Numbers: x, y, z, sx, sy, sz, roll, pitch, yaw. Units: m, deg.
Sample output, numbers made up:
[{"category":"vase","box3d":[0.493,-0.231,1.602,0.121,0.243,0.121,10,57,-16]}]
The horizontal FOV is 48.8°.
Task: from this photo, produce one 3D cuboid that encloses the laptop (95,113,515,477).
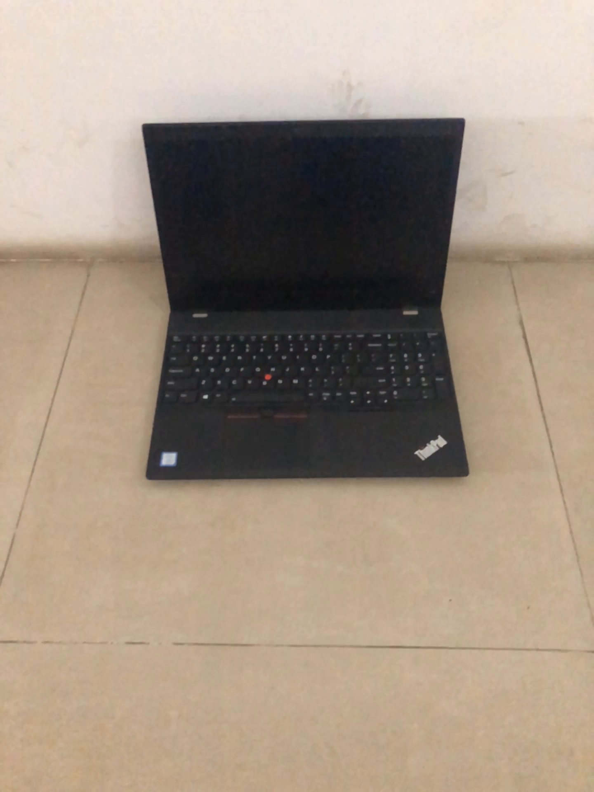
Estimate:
[{"category":"laptop","box3d":[0.007,-0.112,0.726,0.351,0.215,0.329,-1,56,1]}]
